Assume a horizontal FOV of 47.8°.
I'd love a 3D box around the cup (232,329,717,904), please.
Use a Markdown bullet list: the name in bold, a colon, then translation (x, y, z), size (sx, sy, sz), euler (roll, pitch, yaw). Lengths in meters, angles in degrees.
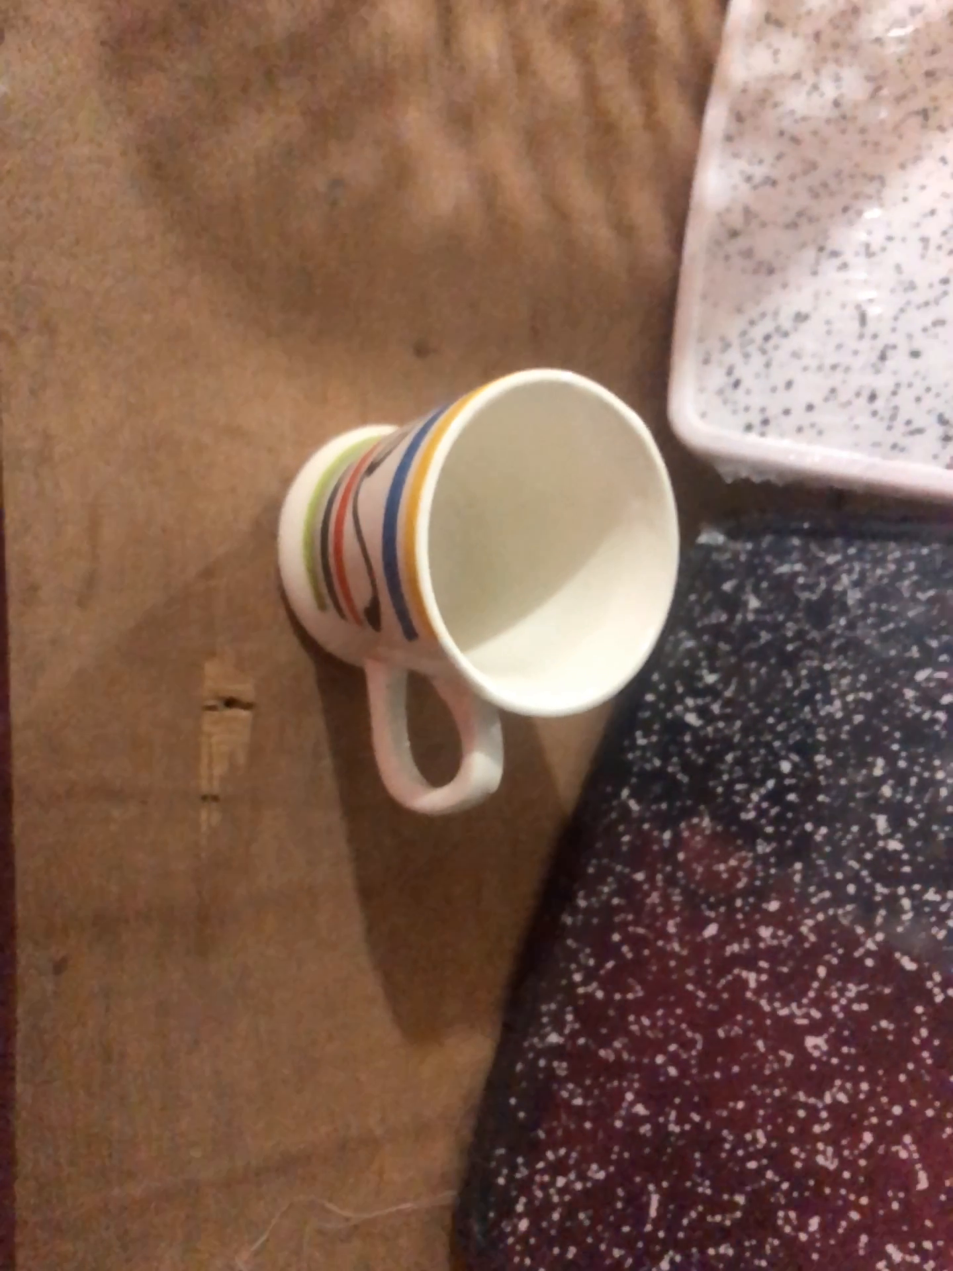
- **cup**: translation (-0.003, -0.002, 0.235), size (0.060, 0.079, 0.100), euler (8, 88, -35)
